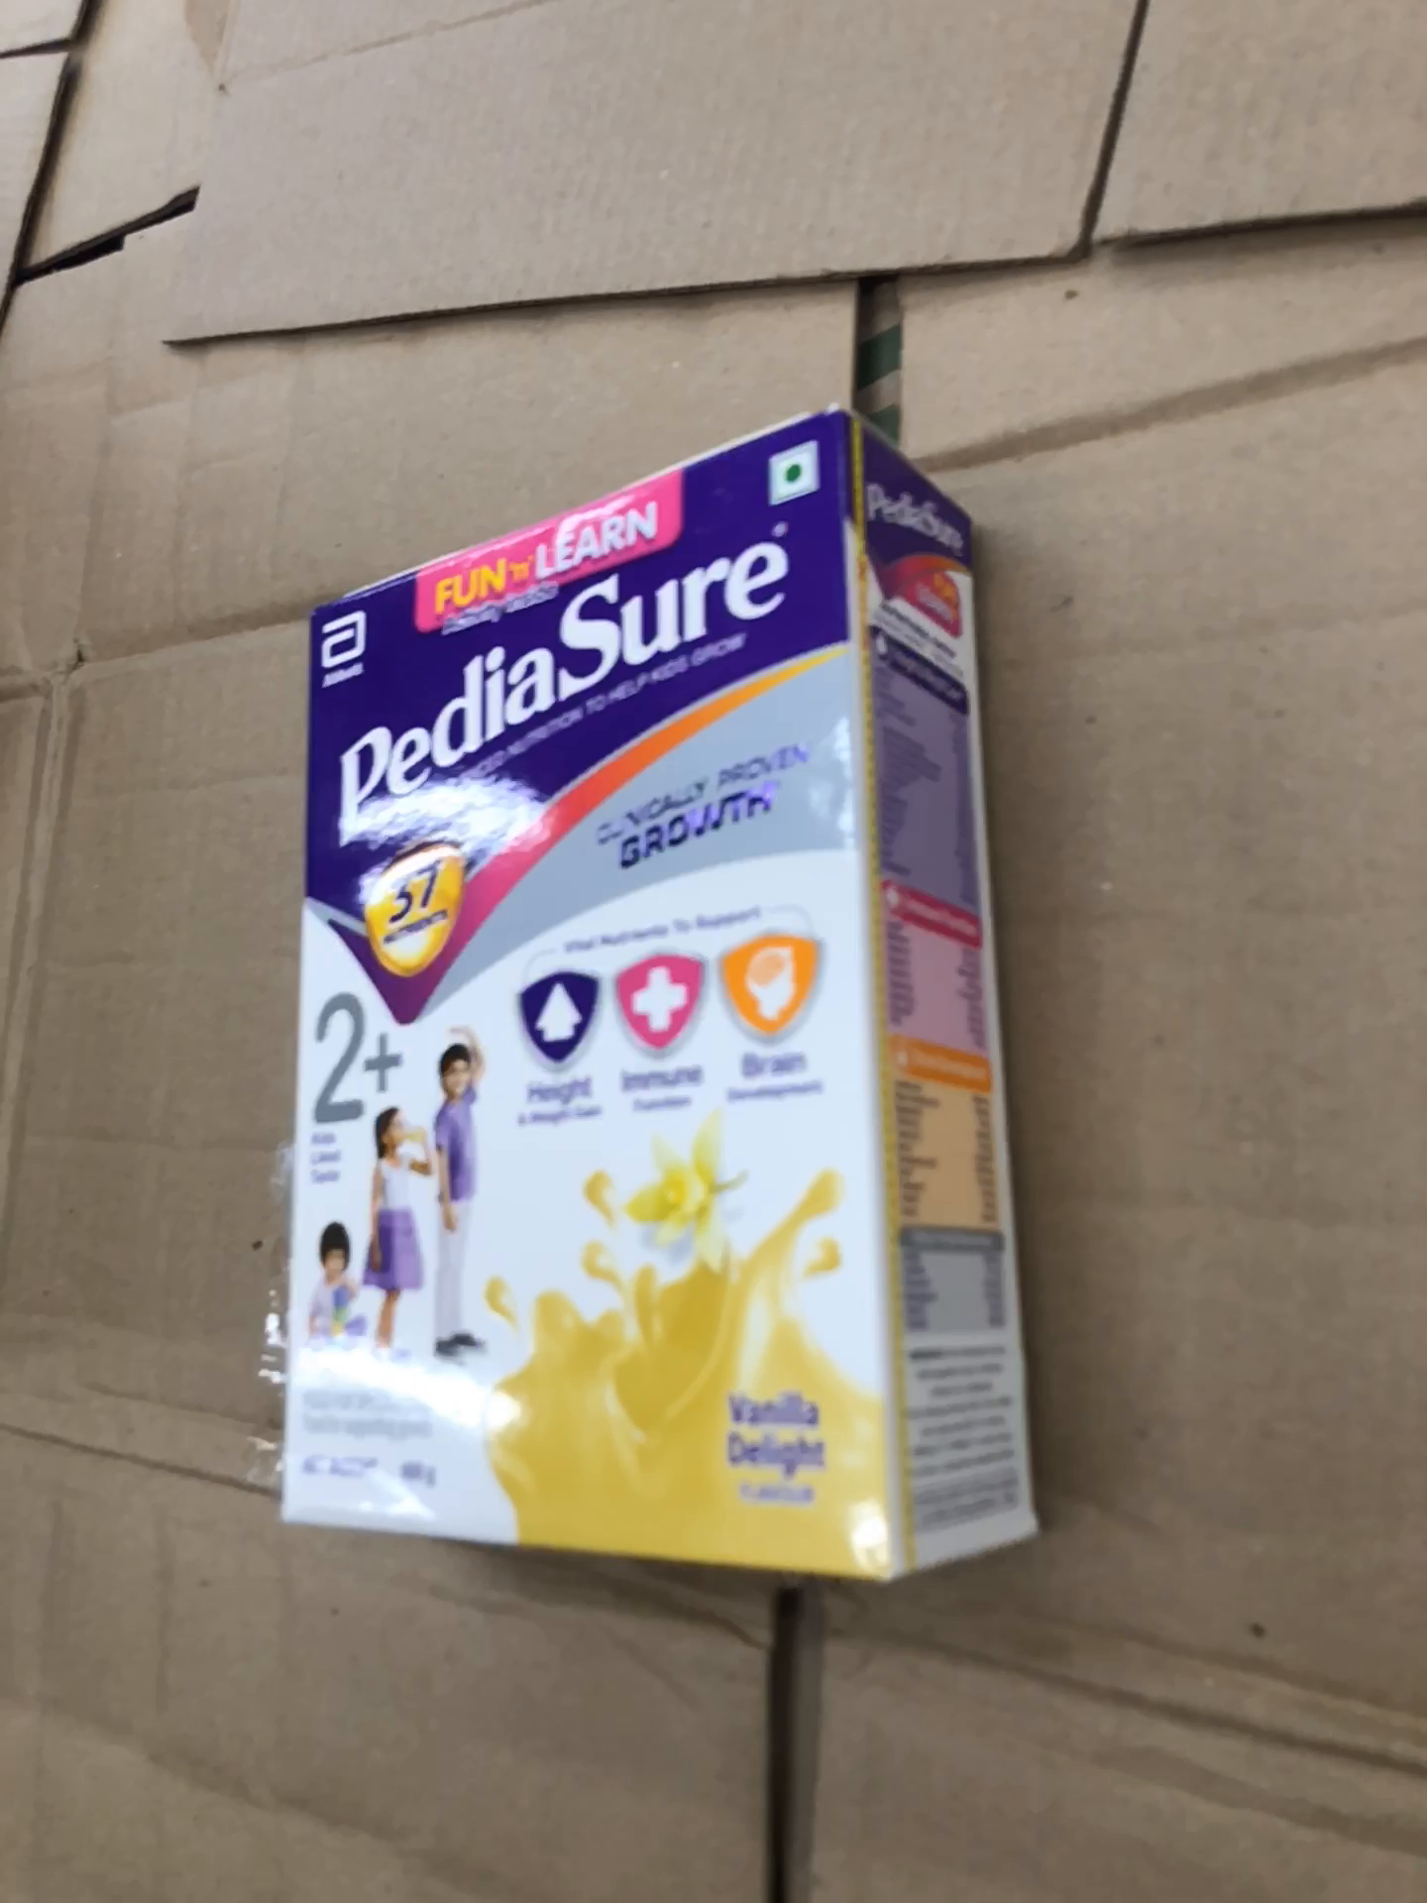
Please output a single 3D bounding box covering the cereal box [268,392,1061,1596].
[{"bbox_3d":[-0.015,0.012,0.301,0.140,0.050,0.190,-9,75,34],"label":"cereal box"}]
